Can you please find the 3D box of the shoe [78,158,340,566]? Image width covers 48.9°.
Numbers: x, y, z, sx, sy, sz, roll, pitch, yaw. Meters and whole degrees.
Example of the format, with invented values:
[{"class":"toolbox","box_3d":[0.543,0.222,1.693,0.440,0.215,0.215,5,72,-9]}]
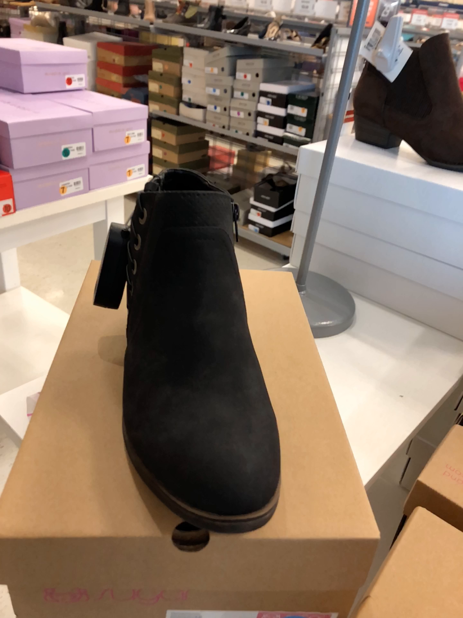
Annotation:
[{"class":"shoe","box_3d":[-0.035,0.002,0.331,0.100,0.119,0.262,0,32,-12]}]
